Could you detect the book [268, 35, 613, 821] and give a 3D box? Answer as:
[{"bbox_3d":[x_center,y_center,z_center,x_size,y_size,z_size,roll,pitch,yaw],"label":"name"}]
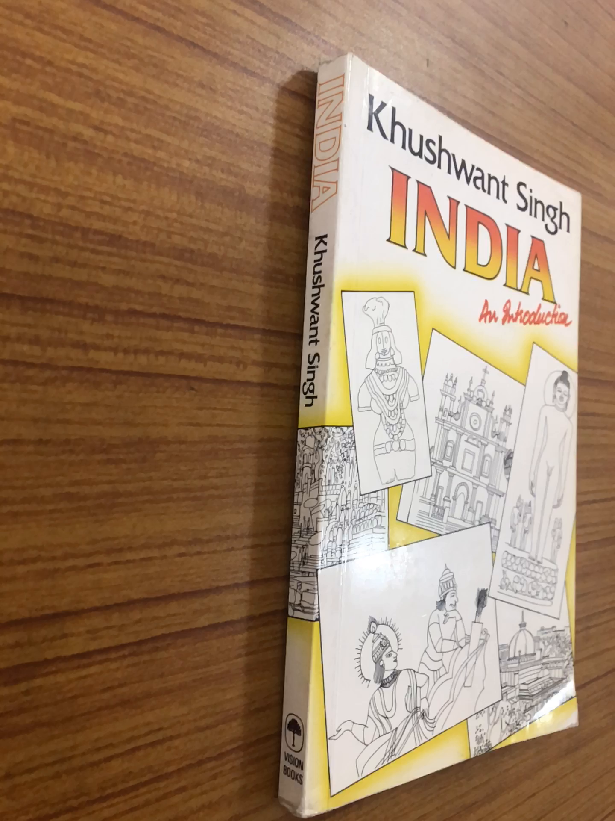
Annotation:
[{"bbox_3d":[0.054,0.009,0.218,0.141,0.020,0.190,8,83,-42],"label":"book"}]
